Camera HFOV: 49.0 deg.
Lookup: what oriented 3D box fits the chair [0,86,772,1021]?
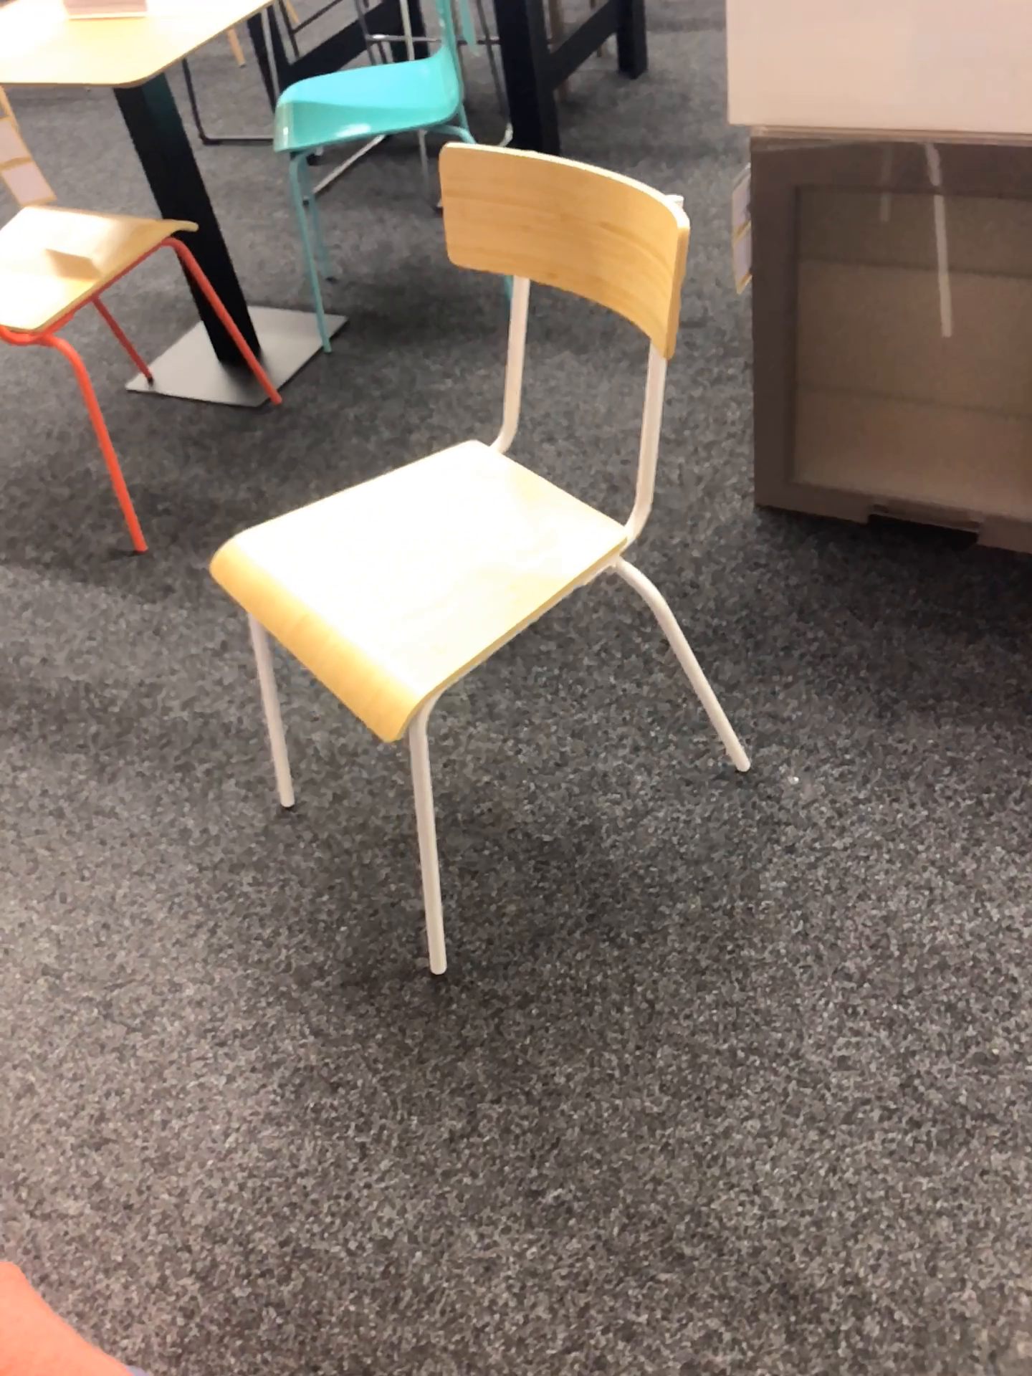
[{"bbox_3d":[-0.091,-0.159,1.385,0.582,0.816,0.541,-36,49,-22],"label":"chair"}]
